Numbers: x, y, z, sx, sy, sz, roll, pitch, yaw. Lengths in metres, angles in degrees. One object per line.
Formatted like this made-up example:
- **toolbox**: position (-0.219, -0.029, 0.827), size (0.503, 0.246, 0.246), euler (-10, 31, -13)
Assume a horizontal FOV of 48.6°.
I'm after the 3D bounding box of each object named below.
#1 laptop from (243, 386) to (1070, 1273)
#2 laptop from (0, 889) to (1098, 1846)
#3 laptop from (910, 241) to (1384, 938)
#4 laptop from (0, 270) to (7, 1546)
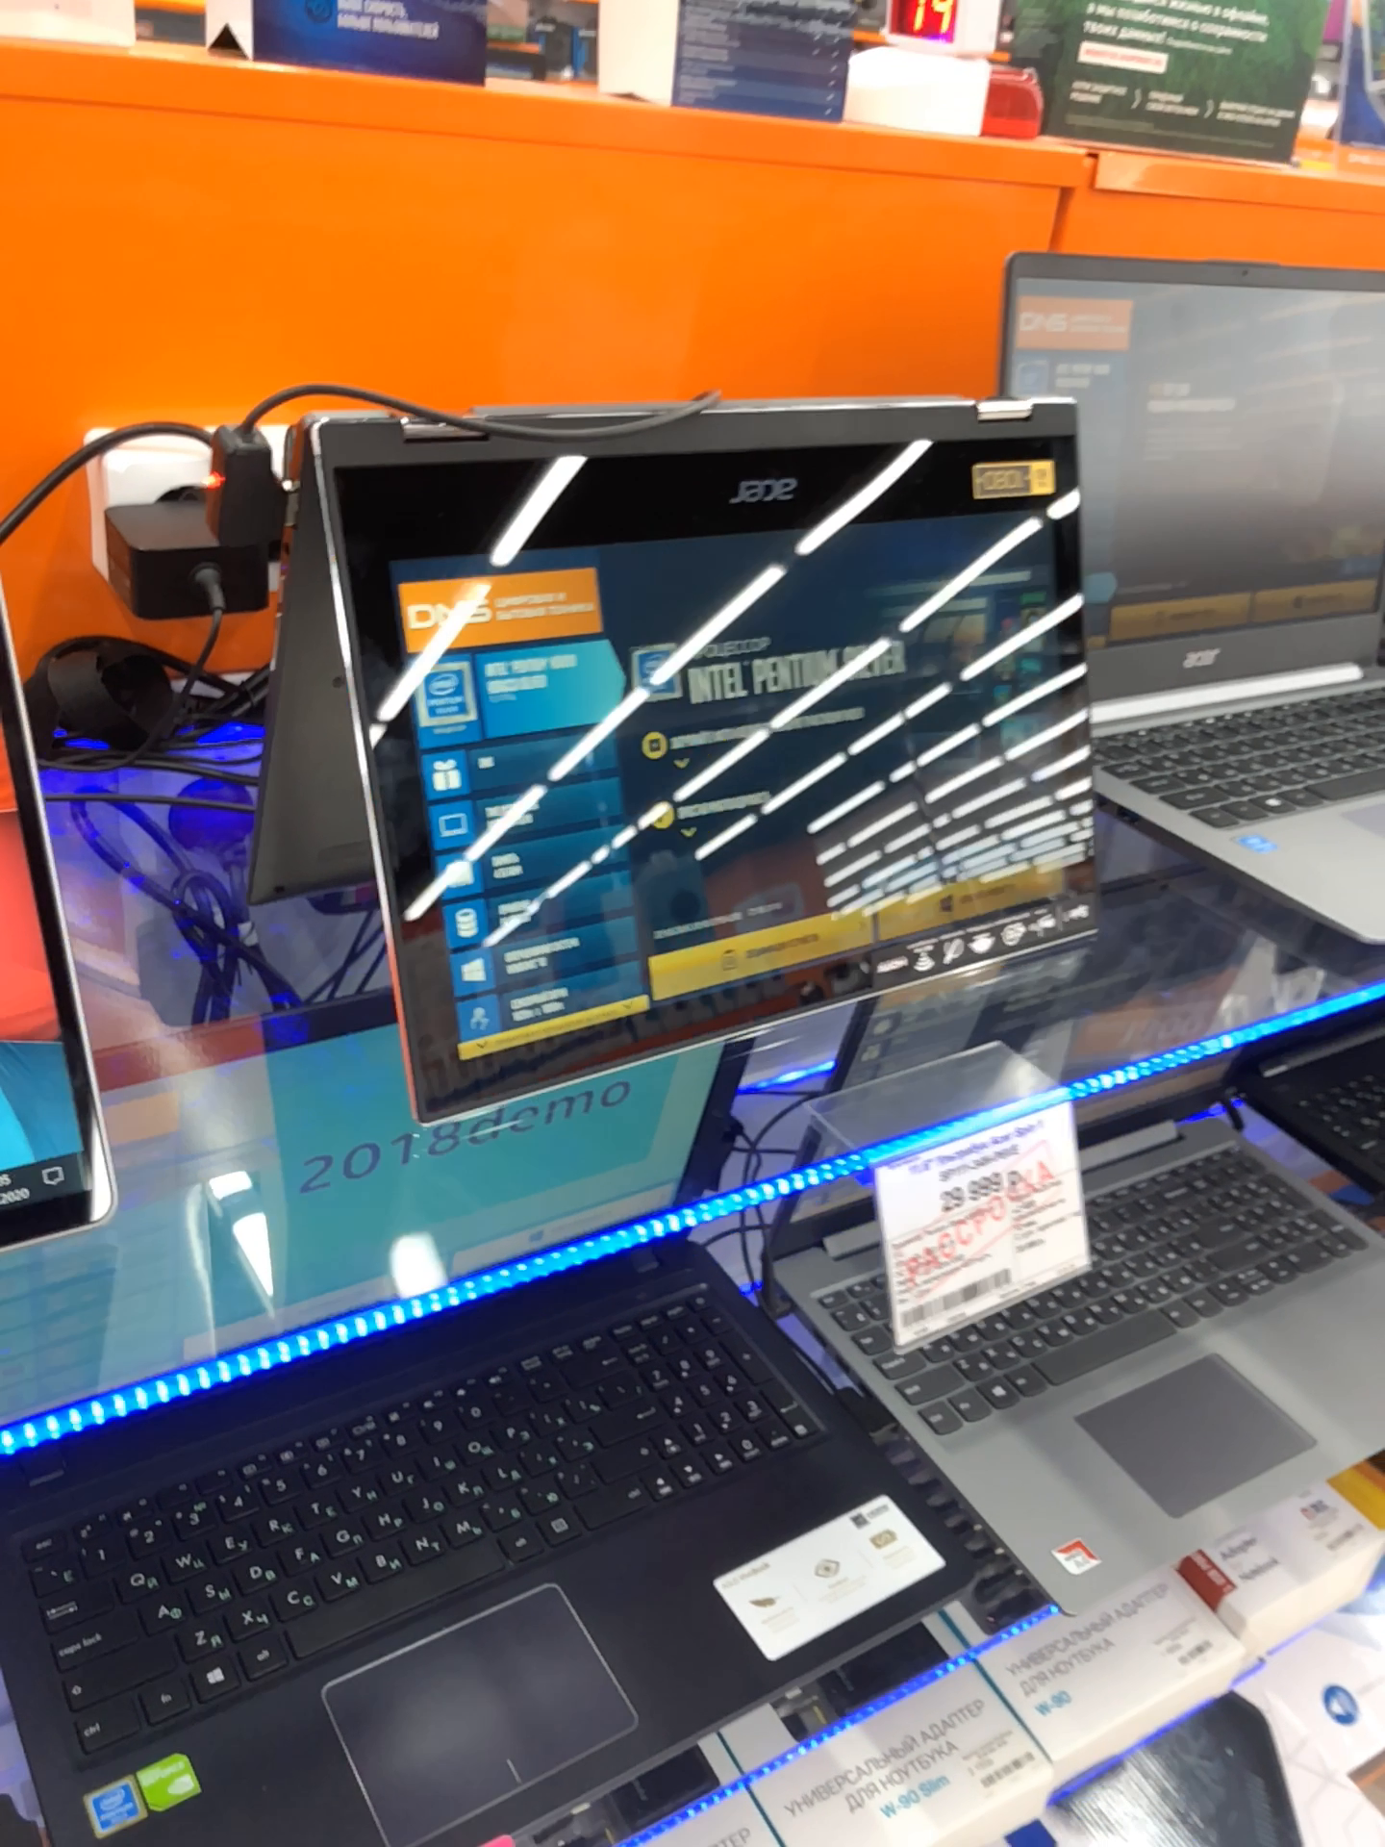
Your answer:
- **laptop**: position (-0.027, -0.021, 0.600), size (0.278, 0.142, 0.181), euler (-12, -5, -28)
- **laptop**: position (-0.076, 0.165, 0.610), size (0.361, 0.222, 0.239), euler (-12, 33, -31)
- **laptop**: position (0.342, -0.181, 0.737), size (0.351, 0.209, 0.273), euler (-13, 35, -34)
- **laptop**: position (-0.360, 0.022, 0.421), size (0.300, 0.149, 0.182), euler (-12, -2, -32)
